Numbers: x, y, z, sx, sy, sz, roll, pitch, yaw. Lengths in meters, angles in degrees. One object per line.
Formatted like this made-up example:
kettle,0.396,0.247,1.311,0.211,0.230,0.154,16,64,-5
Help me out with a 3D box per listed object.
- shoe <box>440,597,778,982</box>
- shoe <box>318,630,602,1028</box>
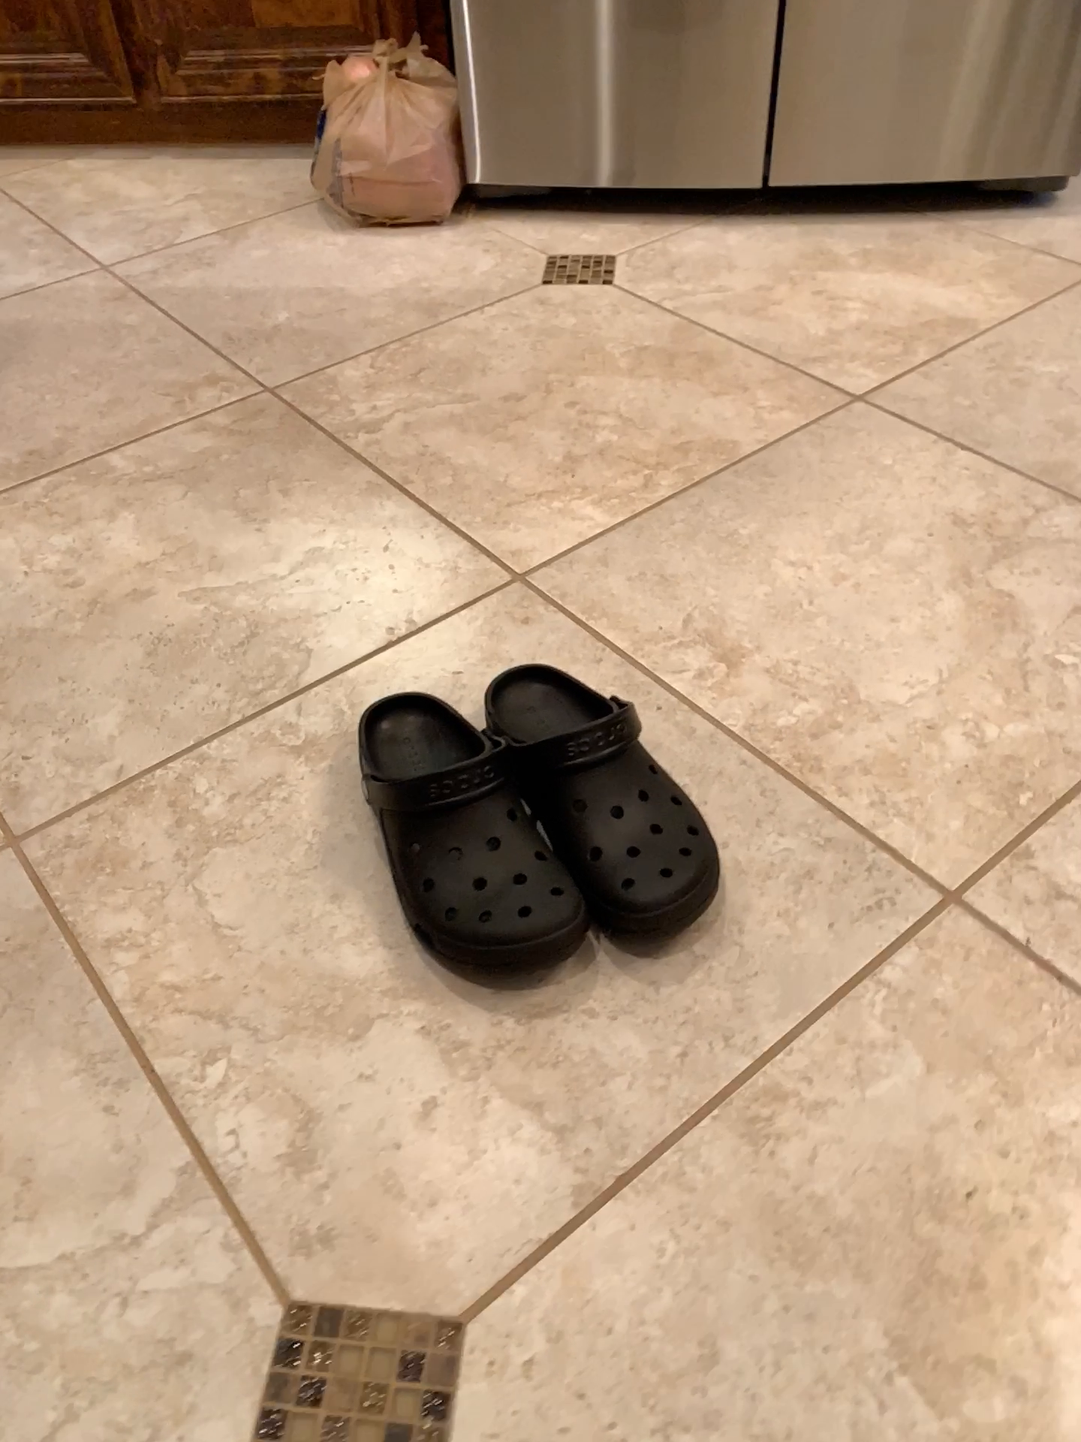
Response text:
shoe,0.040,0.037,0.820,0.123,0.085,0.279,-21,48,-16
shoe,-0.065,0.064,0.802,0.113,0.085,0.279,-18,47,-14
